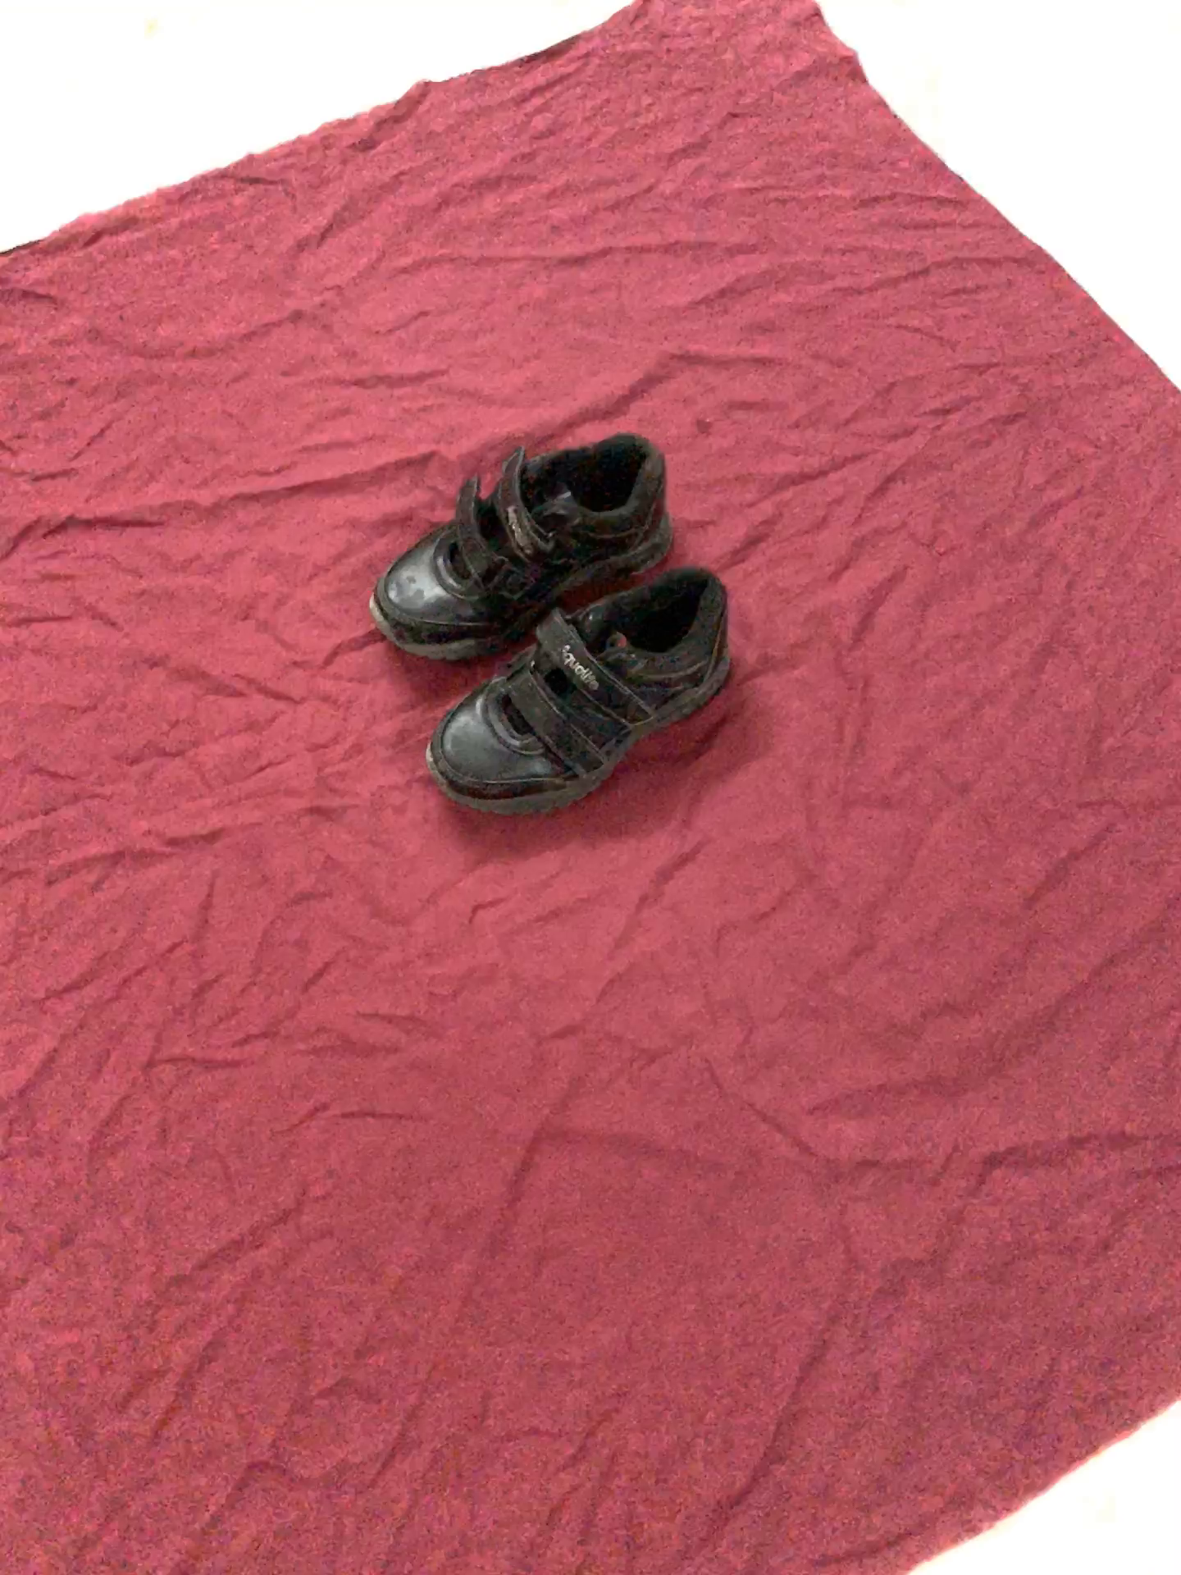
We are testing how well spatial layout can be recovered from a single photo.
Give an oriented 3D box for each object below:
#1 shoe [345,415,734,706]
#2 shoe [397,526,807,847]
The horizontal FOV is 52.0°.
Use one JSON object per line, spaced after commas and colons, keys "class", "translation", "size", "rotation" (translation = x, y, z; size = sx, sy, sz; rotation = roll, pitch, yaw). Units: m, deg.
{"class": "shoe", "translation": [-0.028, -0.134, 0.716], "size": [0.210, 0.070, 0.070], "rotation": [-24, 69, -8]}
{"class": "shoe", "translation": [0.008, -0.056, 0.674], "size": [0.210, 0.070, 0.070], "rotation": [-27, 69, -9]}
